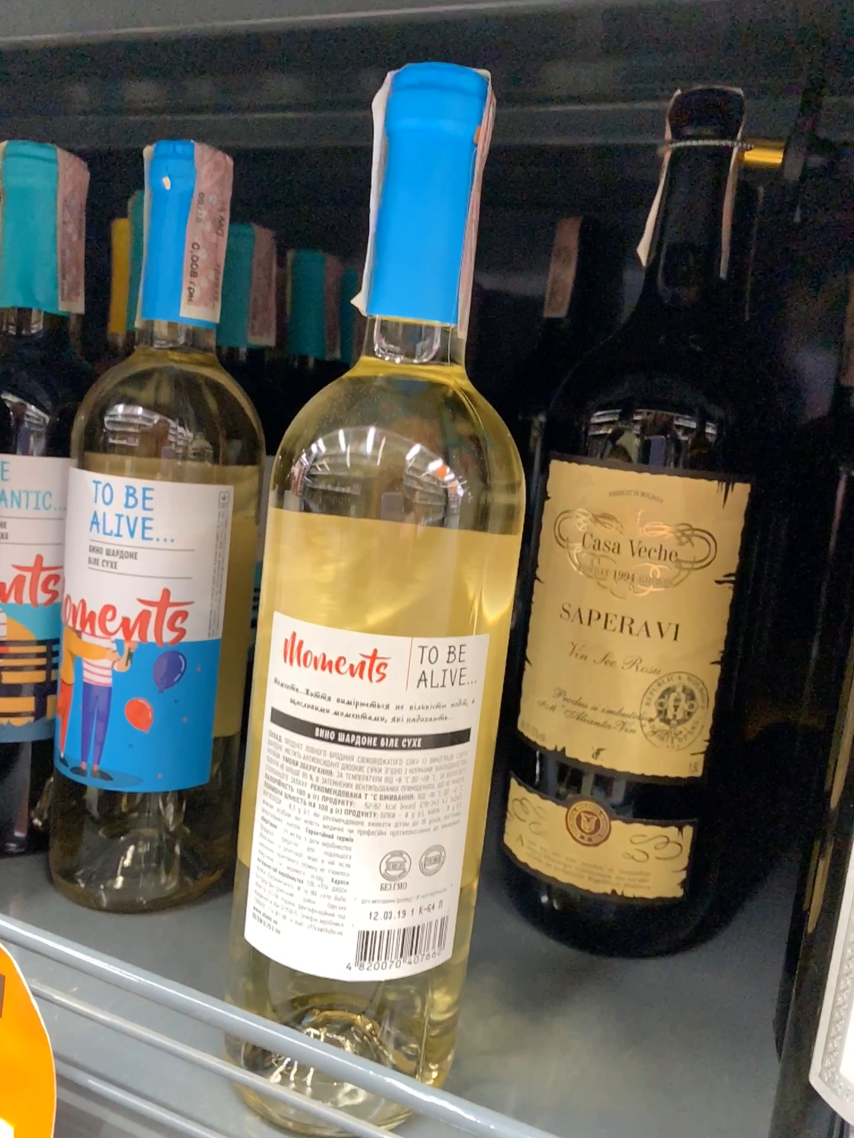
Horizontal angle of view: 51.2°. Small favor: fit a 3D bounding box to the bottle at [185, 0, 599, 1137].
[{"bbox_3d":[-0.012,0.006,0.270,0.080,0.314,0.081,5,10,-1],"label":"bottle"}]
